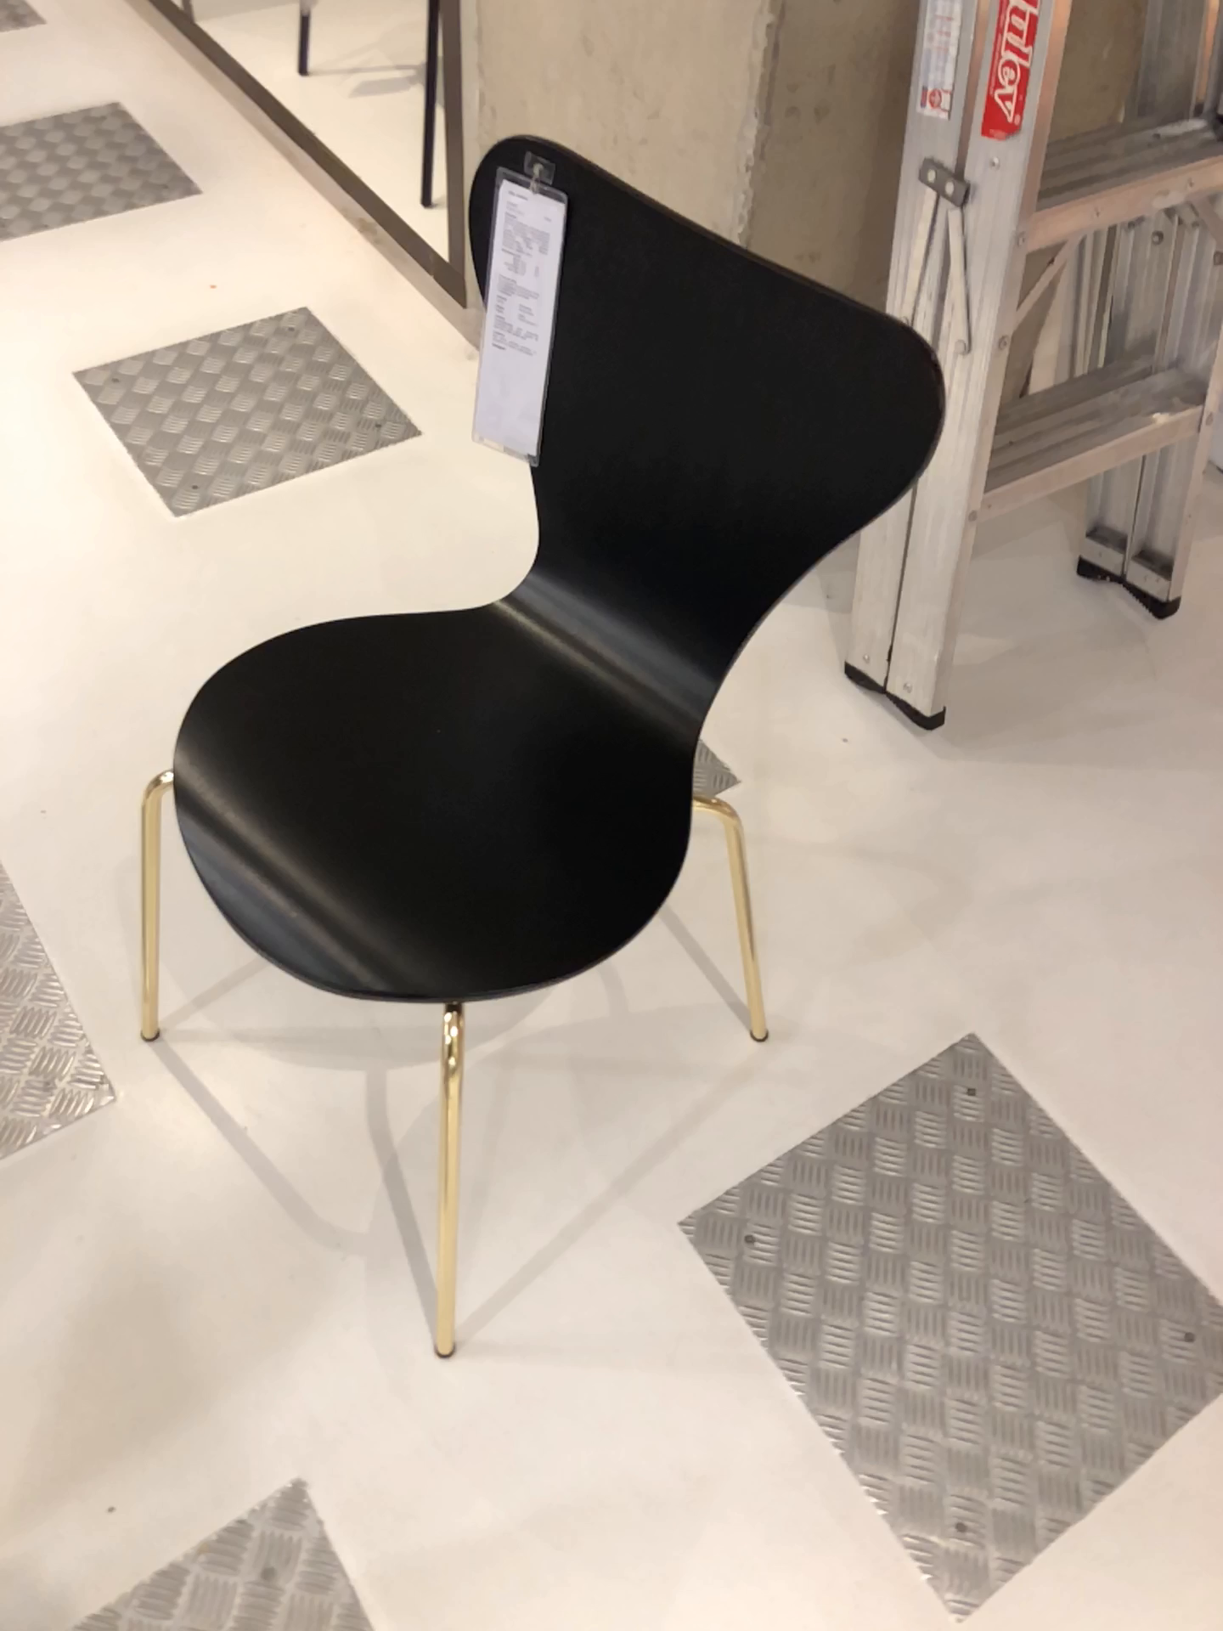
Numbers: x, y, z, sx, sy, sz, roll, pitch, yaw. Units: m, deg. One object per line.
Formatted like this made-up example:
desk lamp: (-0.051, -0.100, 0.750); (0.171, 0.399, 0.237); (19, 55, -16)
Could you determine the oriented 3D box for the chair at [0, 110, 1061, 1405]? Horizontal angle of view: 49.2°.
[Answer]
chair: (-0.116, -0.015, 1.105); (0.511, 0.775, 0.542); (39, 58, 24)
